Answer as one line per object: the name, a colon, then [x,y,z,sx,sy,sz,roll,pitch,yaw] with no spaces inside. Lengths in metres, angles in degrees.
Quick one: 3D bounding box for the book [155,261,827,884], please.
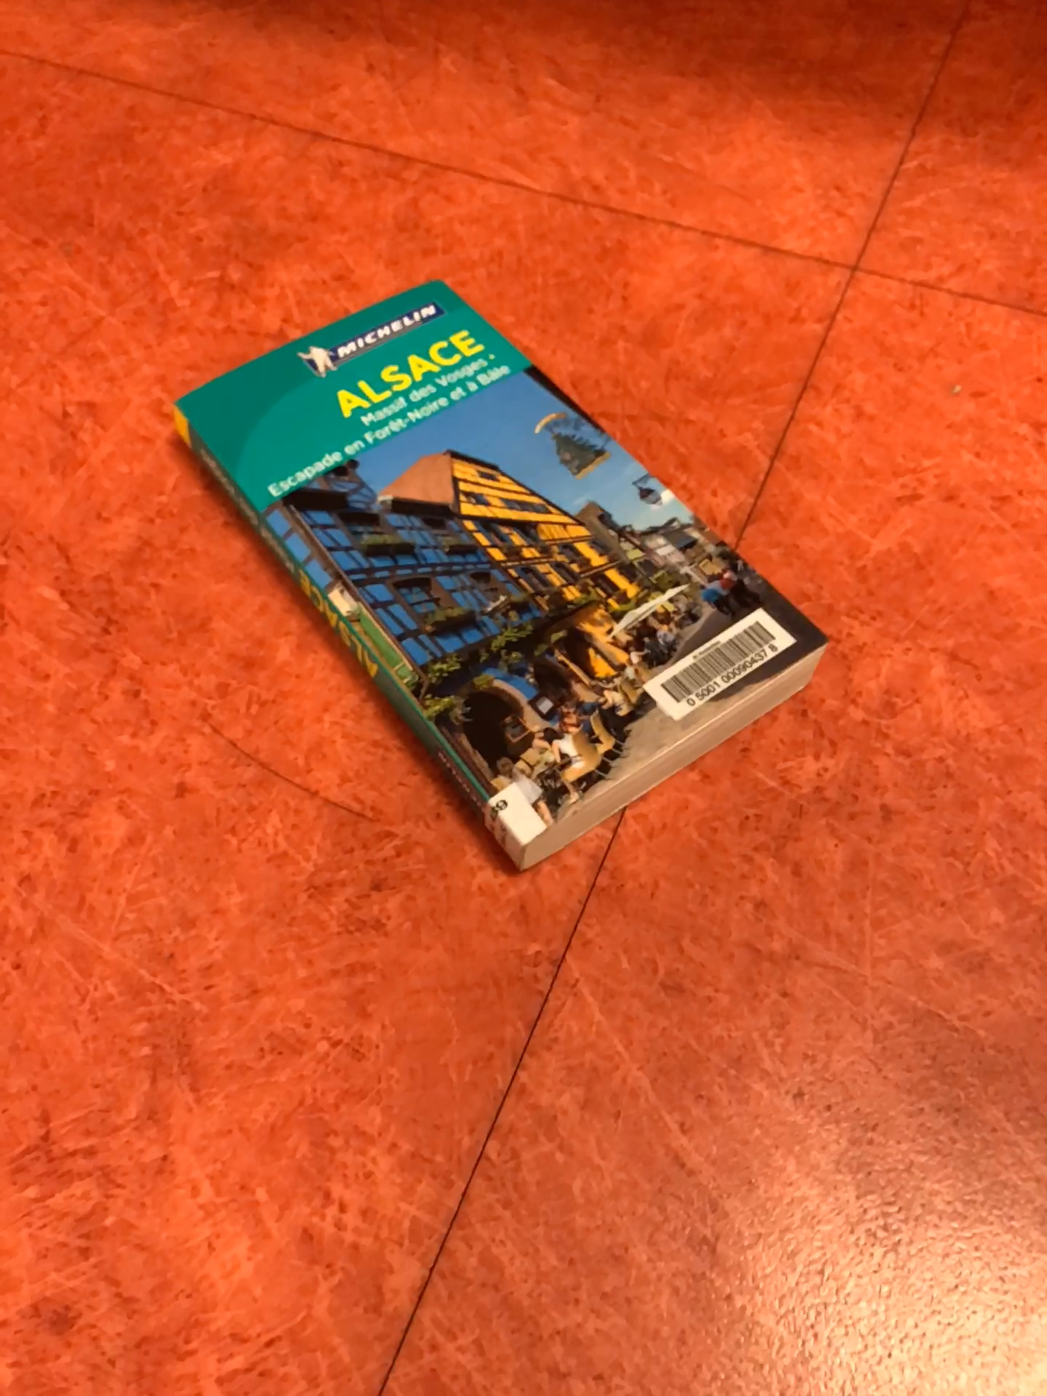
book: [-0.019,-0.056,0.385,0.116,0.030,0.213,-31,62,-18]
